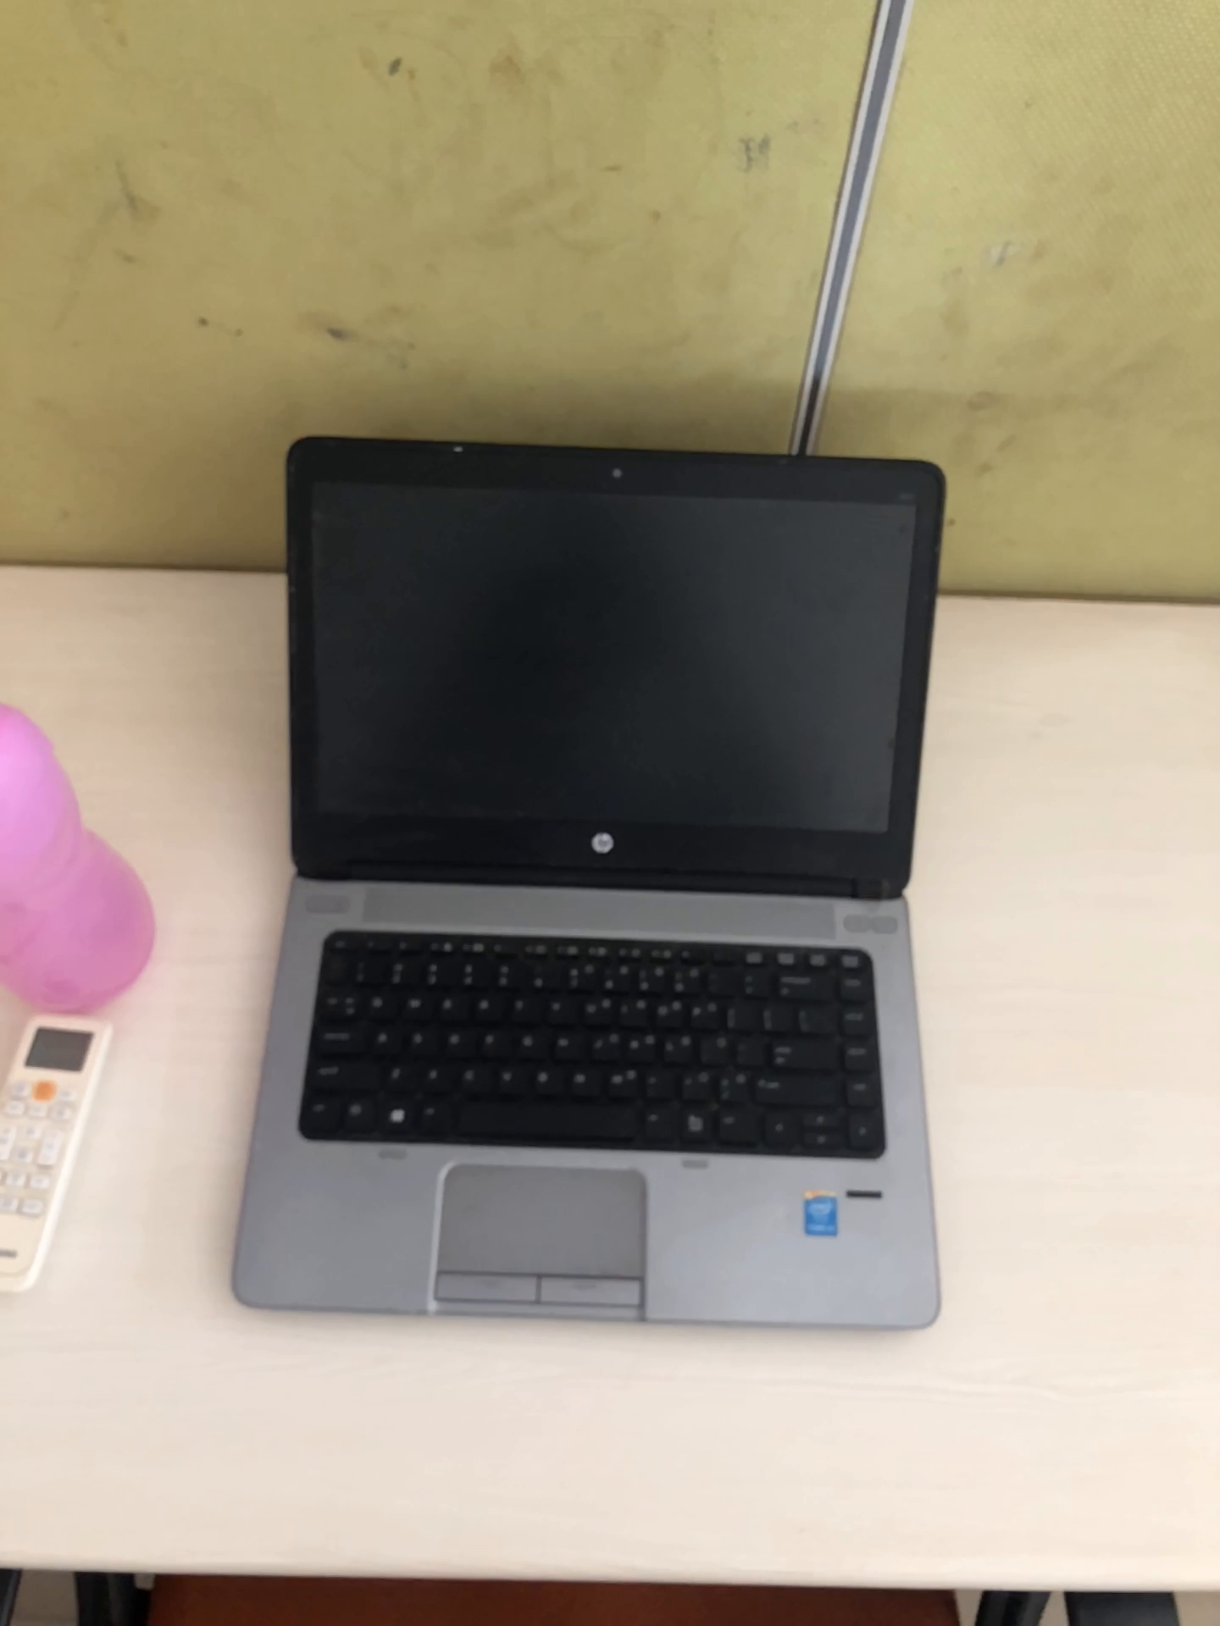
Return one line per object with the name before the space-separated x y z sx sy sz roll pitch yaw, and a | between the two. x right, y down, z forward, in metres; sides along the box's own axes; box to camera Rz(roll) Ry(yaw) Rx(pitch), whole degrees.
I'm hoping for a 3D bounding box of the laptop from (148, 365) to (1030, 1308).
laptop | -0.004 0.004 0.651 0.326 0.148 0.407 2 65 0
